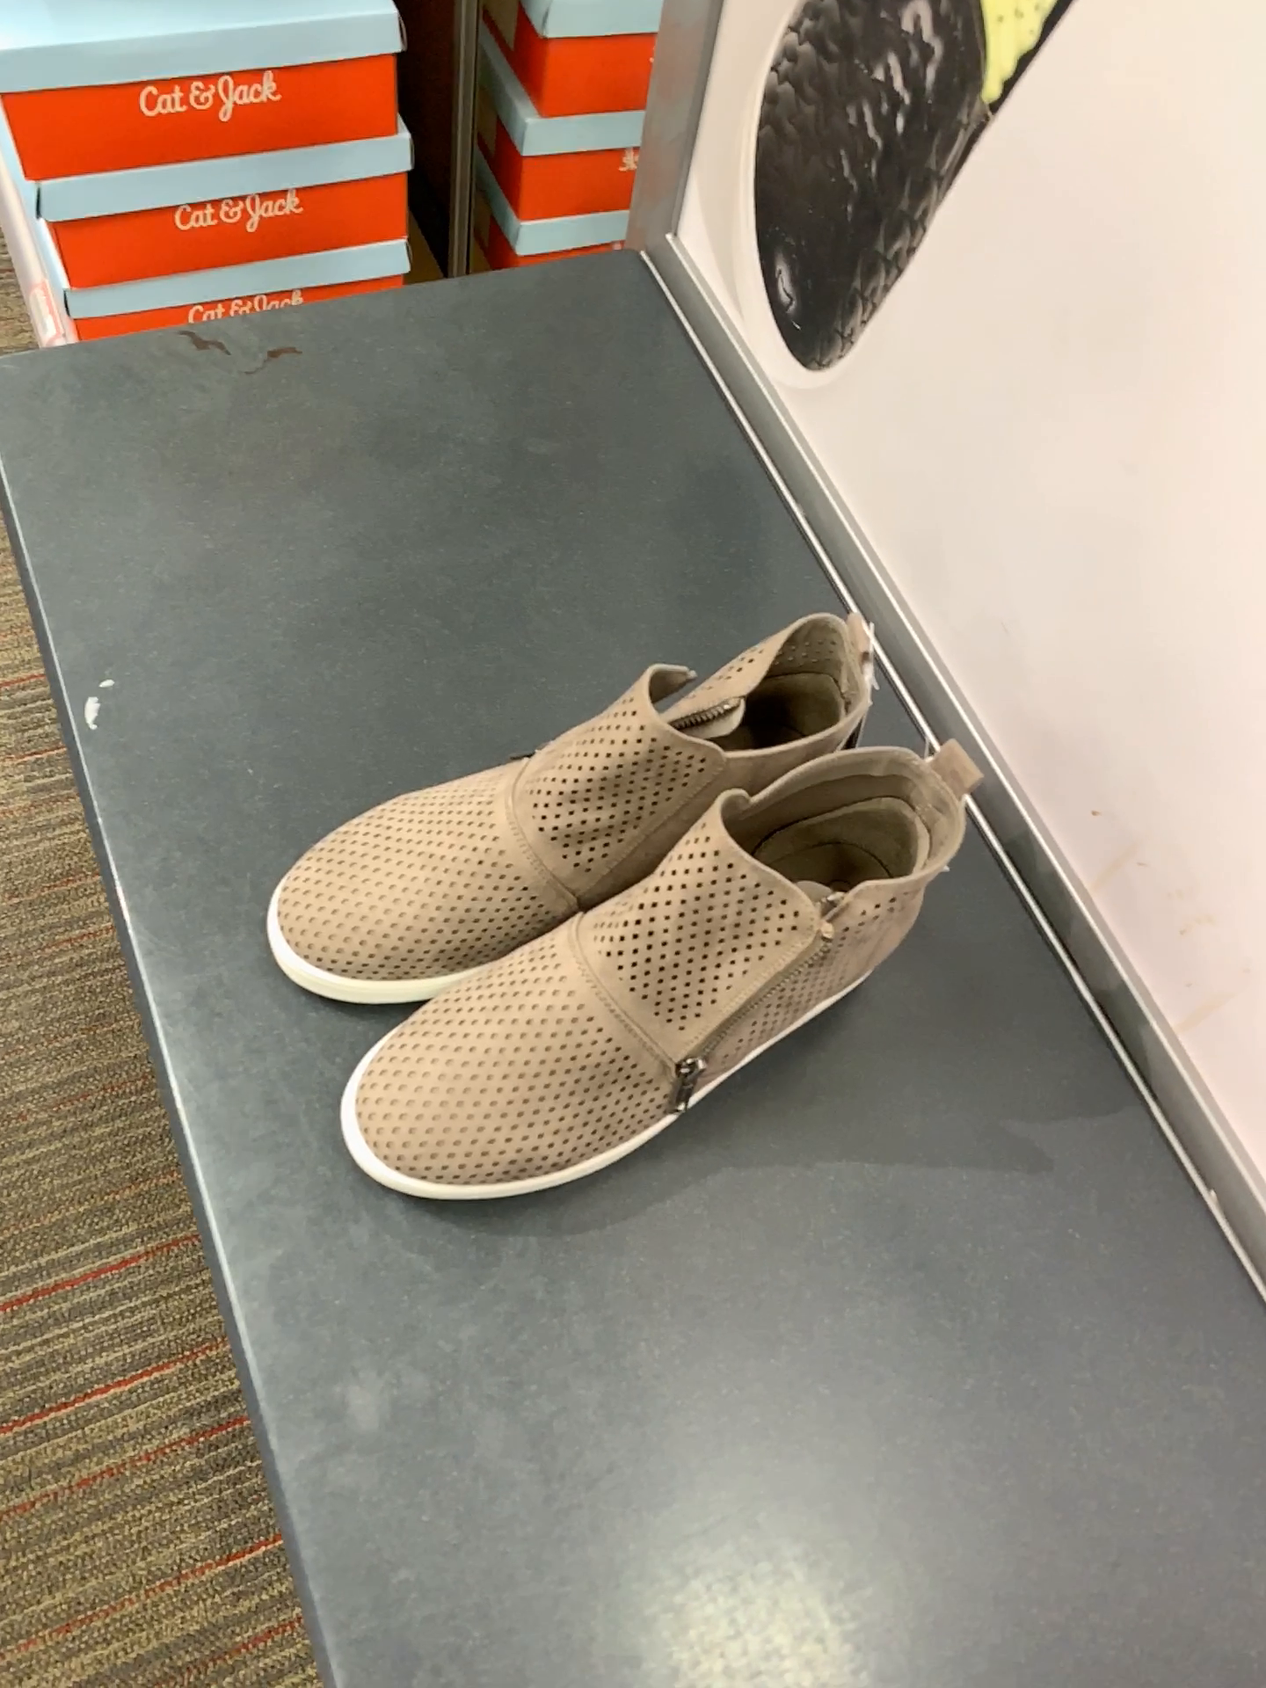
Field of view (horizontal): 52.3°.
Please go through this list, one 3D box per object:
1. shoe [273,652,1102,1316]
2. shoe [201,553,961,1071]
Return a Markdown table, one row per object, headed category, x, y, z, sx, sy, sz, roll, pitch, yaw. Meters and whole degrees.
| category | x | y | z | sx | sy | sz | roll | pitch | yaw |
| --- | --- | --- | --- | --- | --- | --- | --- | --- | --- |
| shoe | 0.015 | 0.051 | 0.467 | 0.250 | 0.140 | 0.100 | -24 | 68 | -21 |
| shoe | -0.024 | -0.012 | 0.514 | 0.250 | 0.140 | 0.100 | -13 | 65 | -16 |
